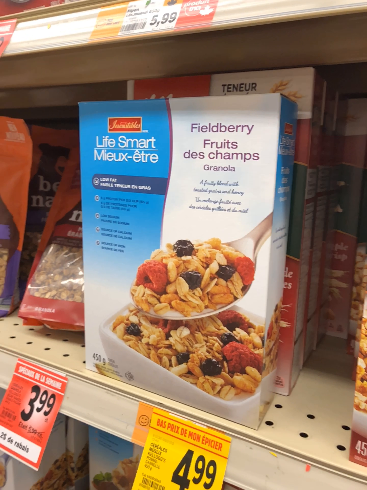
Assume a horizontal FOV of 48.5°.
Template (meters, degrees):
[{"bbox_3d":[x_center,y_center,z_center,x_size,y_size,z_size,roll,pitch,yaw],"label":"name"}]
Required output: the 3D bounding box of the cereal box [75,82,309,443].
[{"bbox_3d":[-0.003,0.006,0.325,0.170,0.239,0.050,8,13,29],"label":"cereal box"}]
